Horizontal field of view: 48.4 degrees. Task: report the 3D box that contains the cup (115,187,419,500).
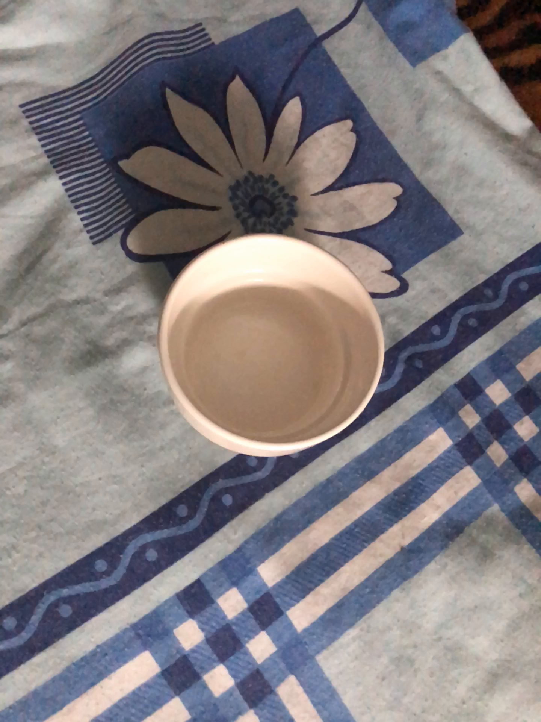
[{"bbox_3d":[-0.004,-0.005,0.233,0.077,0.047,0.091,-22,81,-12],"label":"cup"}]
